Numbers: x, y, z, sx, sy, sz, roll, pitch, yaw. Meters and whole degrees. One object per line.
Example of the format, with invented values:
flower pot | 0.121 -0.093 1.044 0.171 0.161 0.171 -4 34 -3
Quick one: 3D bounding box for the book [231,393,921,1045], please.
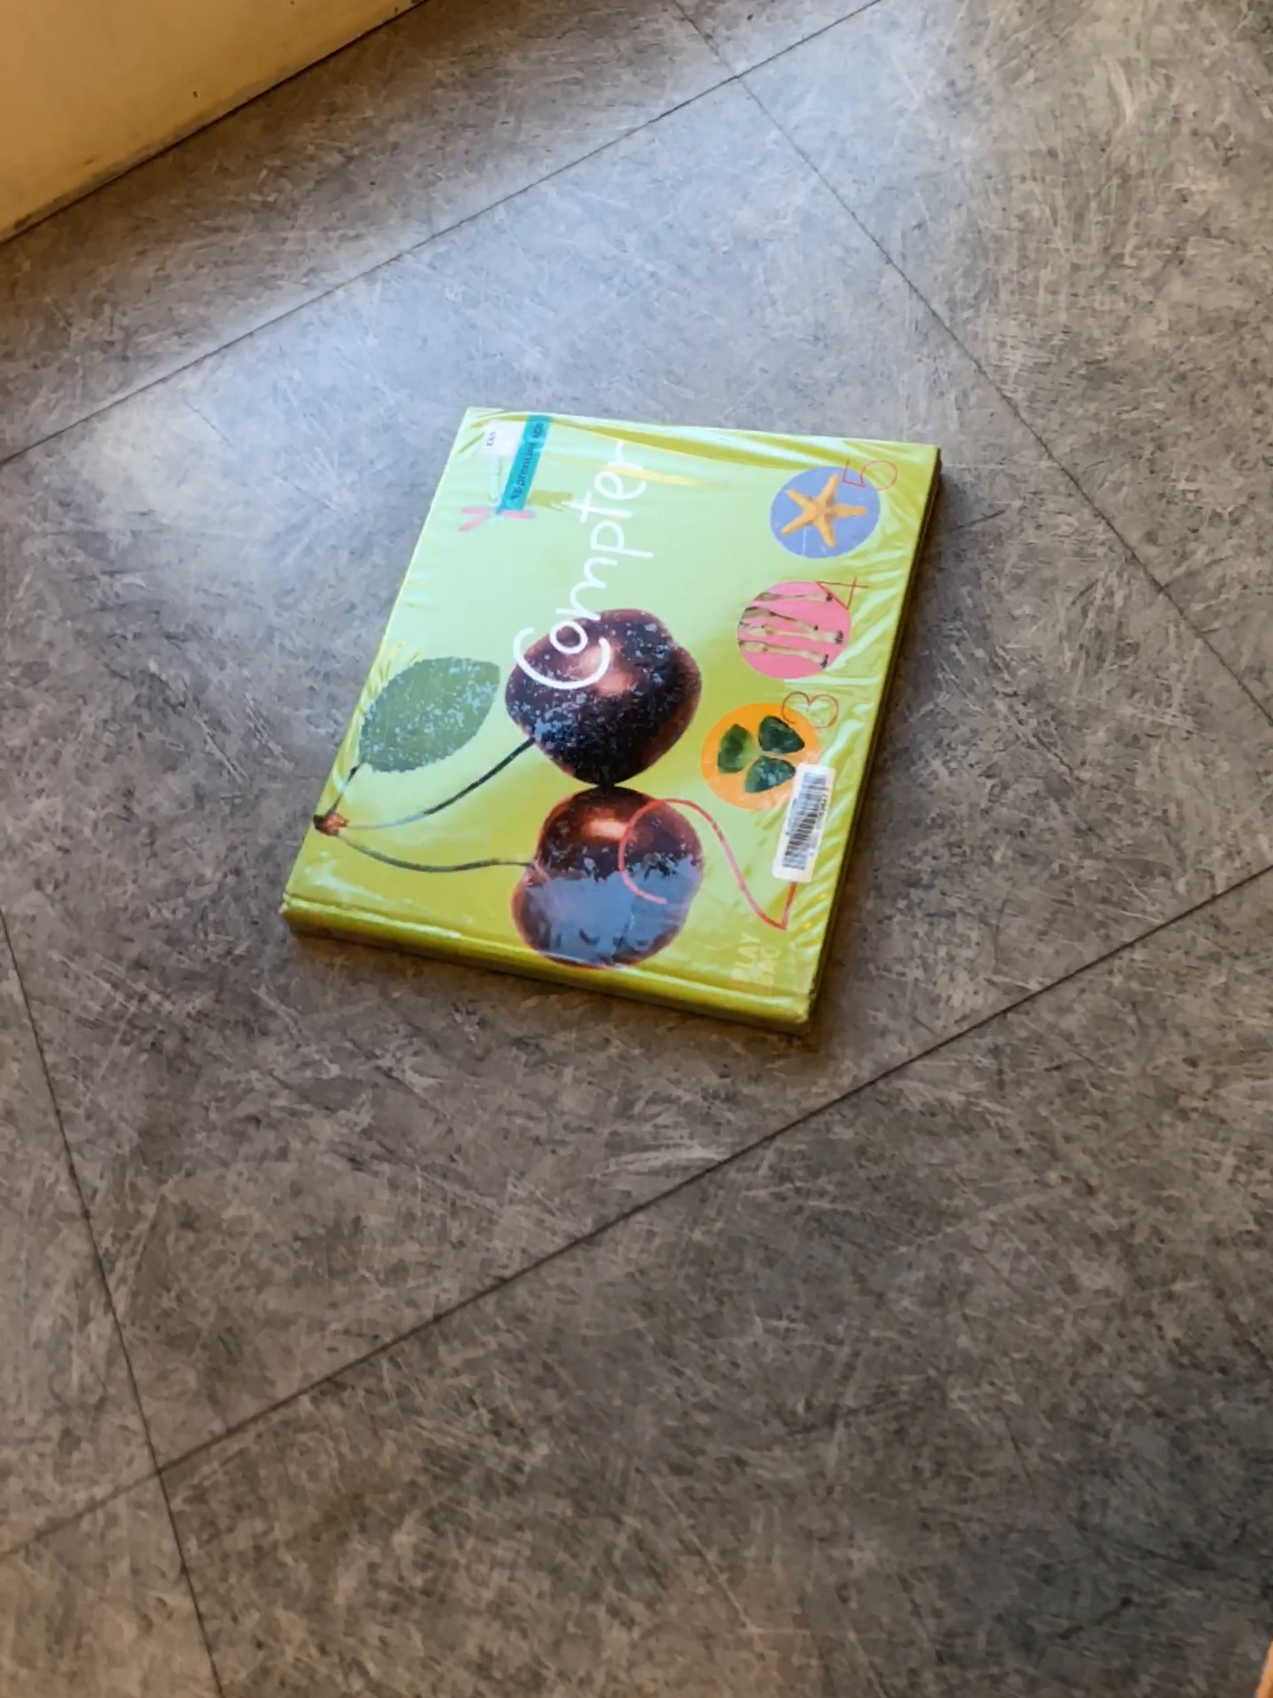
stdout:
book | -0.019 -0.068 0.575 0.222 0.021 0.256 11 69 14
